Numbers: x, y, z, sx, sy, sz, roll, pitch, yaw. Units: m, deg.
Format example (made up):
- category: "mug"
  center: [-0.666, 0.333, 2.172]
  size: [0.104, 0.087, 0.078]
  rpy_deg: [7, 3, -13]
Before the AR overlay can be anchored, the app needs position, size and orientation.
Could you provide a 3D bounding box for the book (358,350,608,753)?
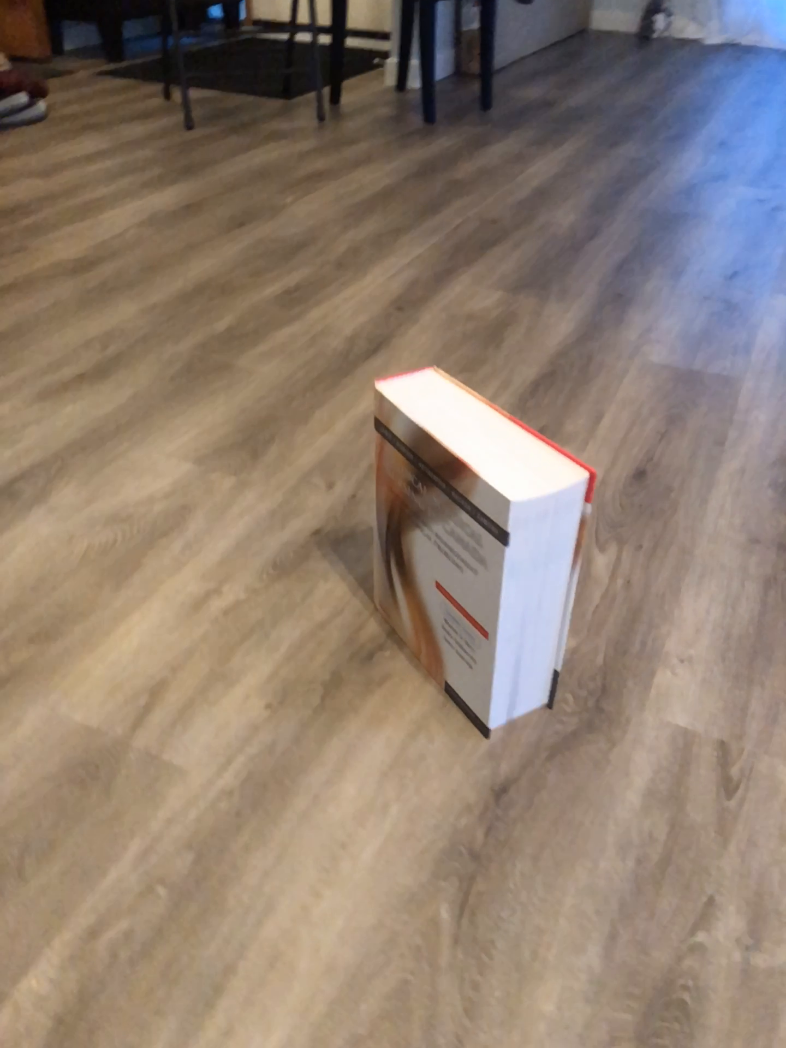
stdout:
- category: "book"
  center: [0.067, 0.023, 0.827]
  size: [0.087, 0.290, 0.240]
  rpy_deg: [-20, 41, -25]
